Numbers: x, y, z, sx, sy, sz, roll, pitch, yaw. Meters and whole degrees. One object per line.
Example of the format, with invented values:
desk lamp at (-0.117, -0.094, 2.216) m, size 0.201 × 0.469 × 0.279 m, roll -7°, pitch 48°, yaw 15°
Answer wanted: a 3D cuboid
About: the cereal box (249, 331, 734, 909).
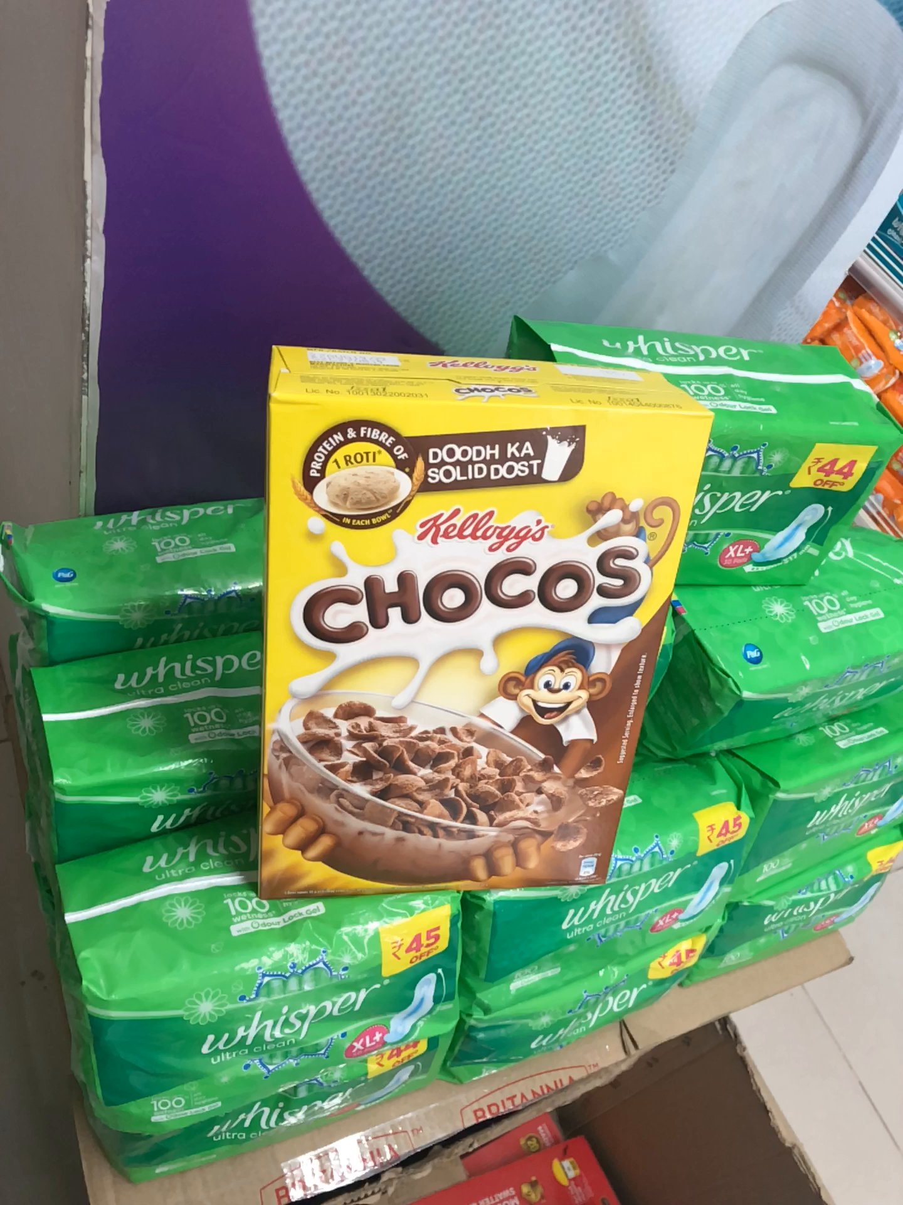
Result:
cereal box at (0.001, 0.016, 0.478) m, size 0.190 × 0.259 × 0.080 m, roll 1°, pitch 28°, yaw -11°
